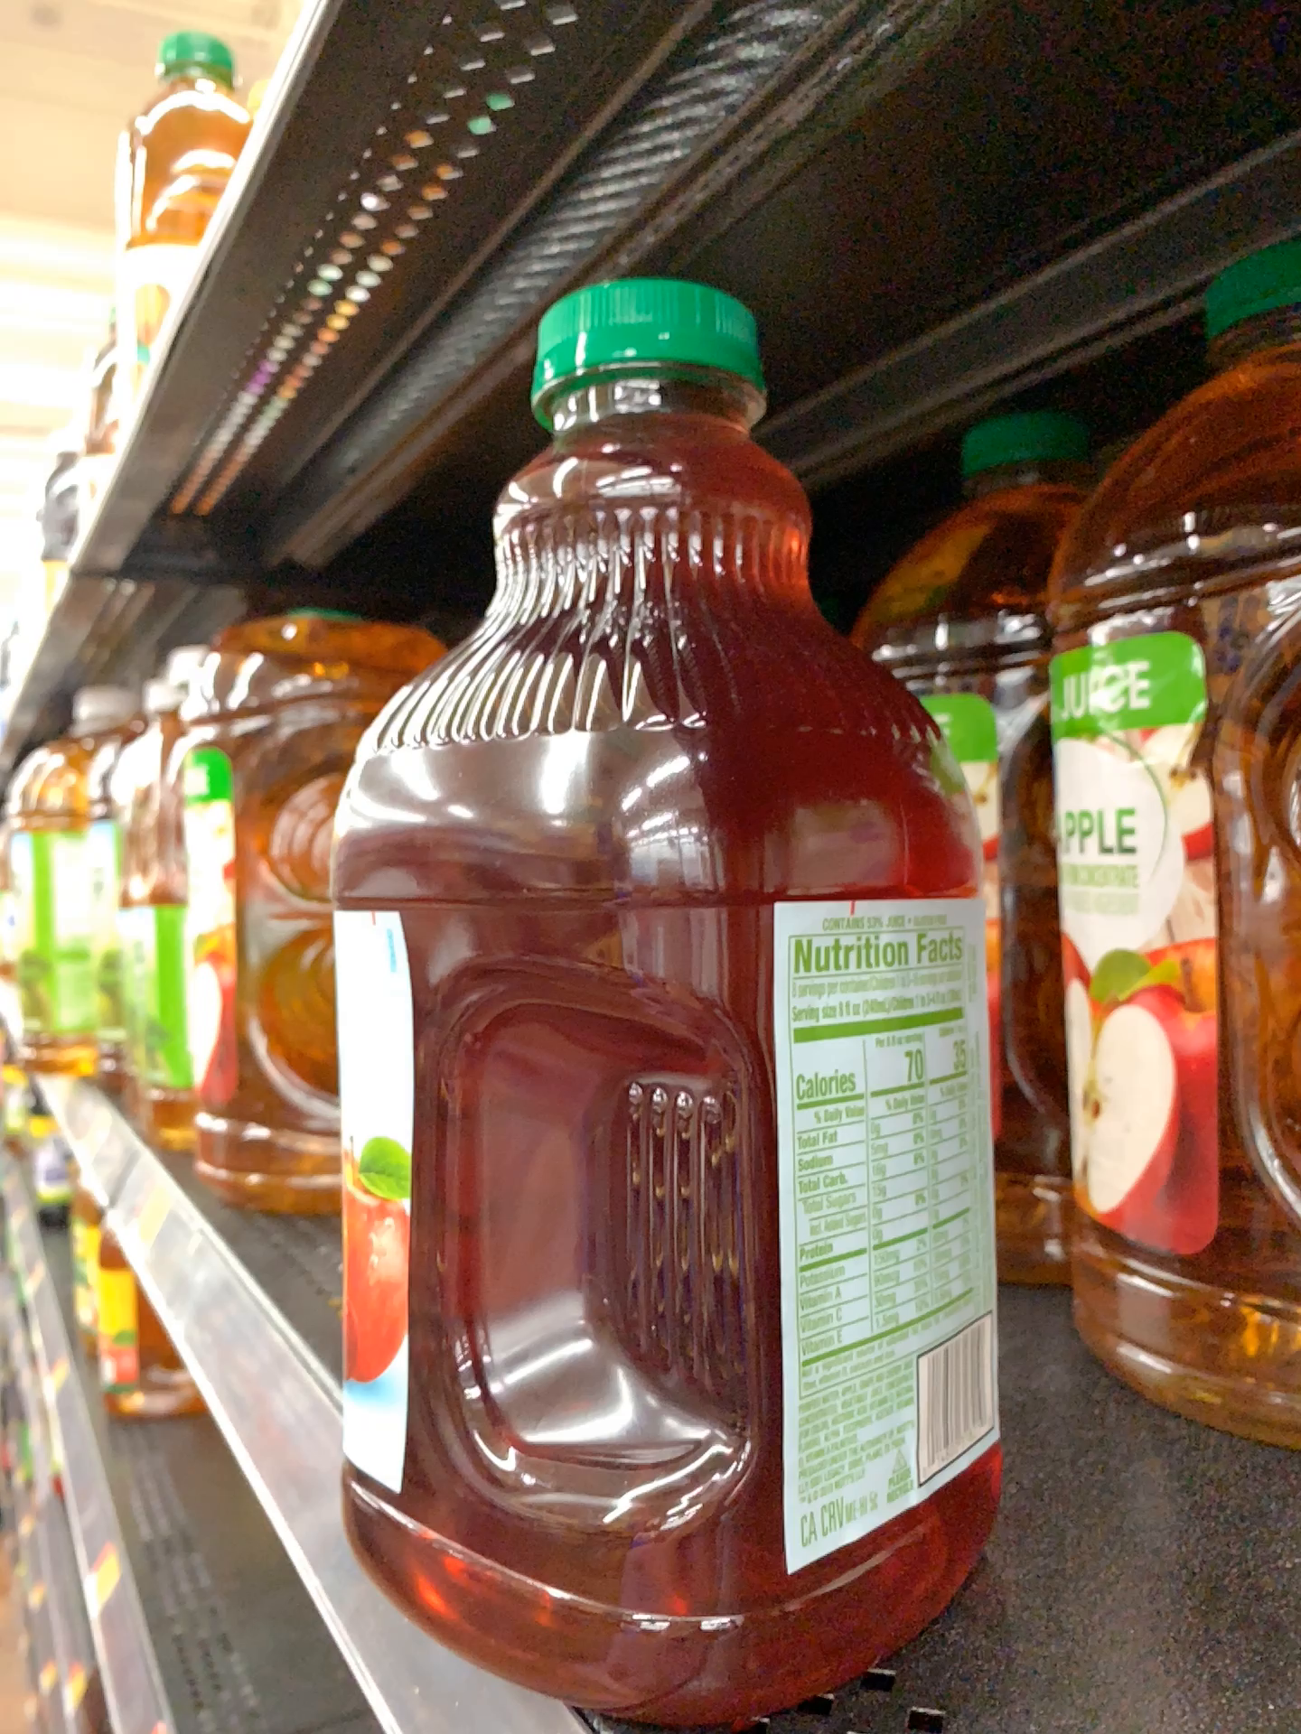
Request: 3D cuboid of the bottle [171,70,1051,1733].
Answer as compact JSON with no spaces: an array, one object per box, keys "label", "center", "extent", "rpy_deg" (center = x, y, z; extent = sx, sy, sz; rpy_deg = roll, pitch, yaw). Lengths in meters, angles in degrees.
[{"label":"bottle","center":[-0.001,0.014,0.270],"extent":[0.110,0.250,0.120],"rpy_deg":[-3,0,0]}]
